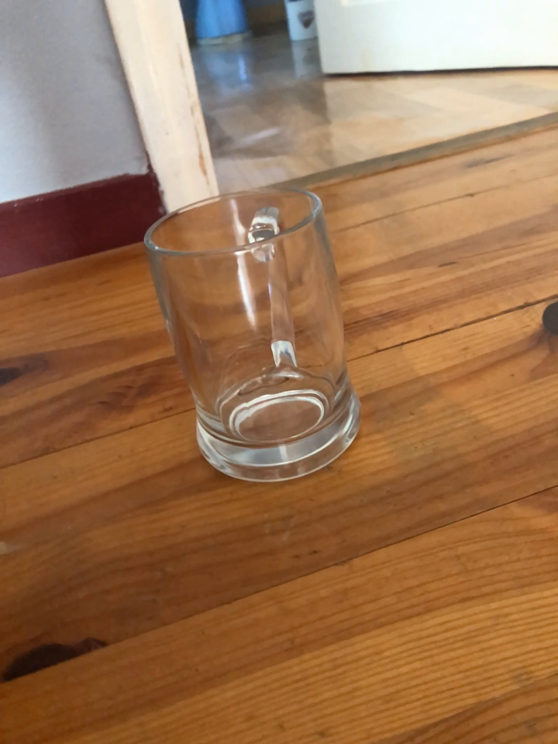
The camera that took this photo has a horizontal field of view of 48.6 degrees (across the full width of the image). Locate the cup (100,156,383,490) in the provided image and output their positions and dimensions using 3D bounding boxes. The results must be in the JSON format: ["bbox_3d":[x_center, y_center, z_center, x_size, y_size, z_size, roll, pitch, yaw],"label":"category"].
[{"bbox_3d":[-0.003,-0.029,0.306,0.091,0.110,0.129,-1,33,15],"label":"cup"}]
